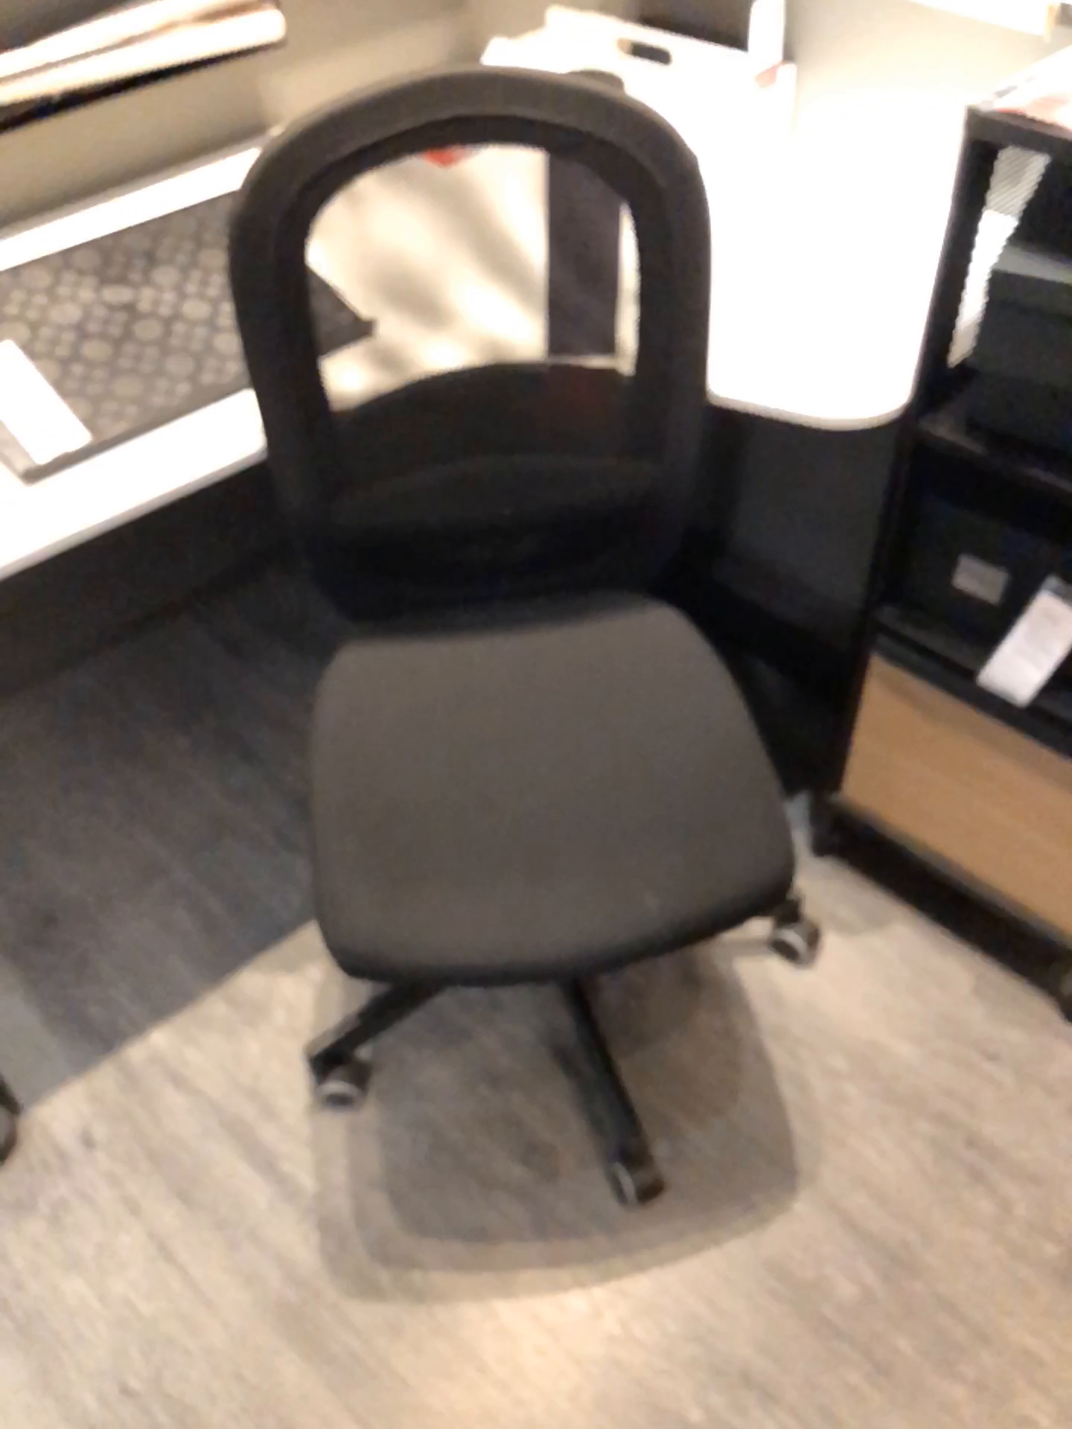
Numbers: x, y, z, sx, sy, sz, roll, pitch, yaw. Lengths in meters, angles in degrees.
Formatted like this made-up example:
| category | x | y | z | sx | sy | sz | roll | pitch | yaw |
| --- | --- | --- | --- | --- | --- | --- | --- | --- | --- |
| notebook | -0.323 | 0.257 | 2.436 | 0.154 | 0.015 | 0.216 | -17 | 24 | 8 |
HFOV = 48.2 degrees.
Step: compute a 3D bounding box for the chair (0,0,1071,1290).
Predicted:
| category | x | y | z | sx | sy | sz | roll | pitch | yaw |
| --- | --- | --- | --- | --- | --- | --- | --- | --- | --- |
| chair | -0.009 | -0.052 | 1.133 | 0.630 | 0.885 | 0.714 | -11 | 47 | -8 |
